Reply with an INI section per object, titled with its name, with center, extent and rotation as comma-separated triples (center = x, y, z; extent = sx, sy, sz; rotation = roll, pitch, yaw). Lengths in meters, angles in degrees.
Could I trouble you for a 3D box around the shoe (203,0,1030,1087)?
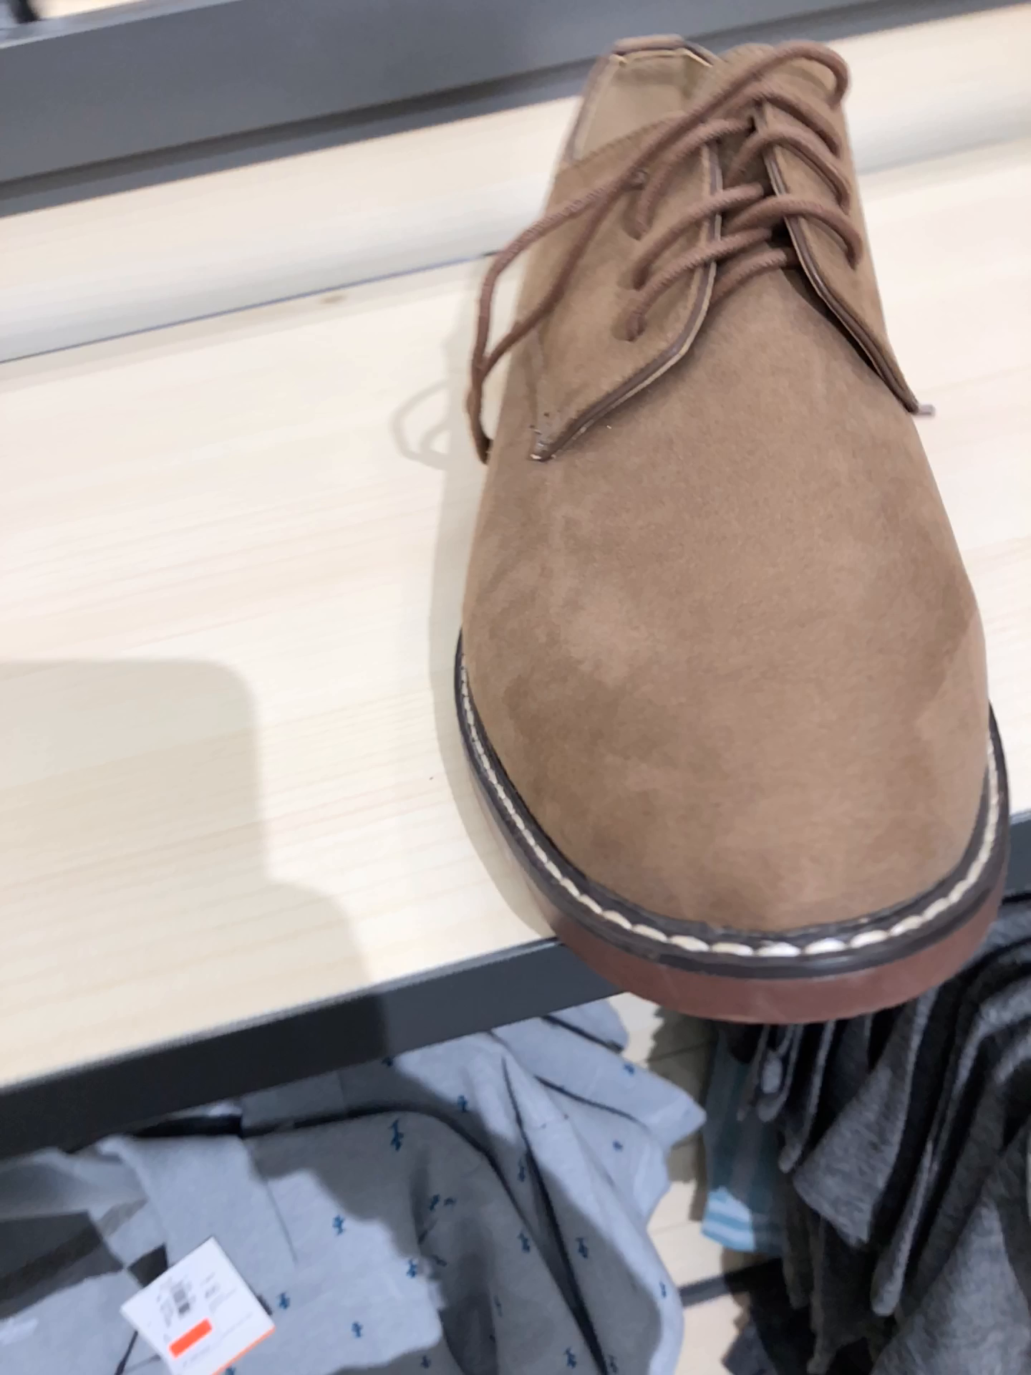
[shoe]
center = 0.038, -0.070, 0.281
extent = 0.120, 0.110, 0.301
rotation = -4, 39, 8
